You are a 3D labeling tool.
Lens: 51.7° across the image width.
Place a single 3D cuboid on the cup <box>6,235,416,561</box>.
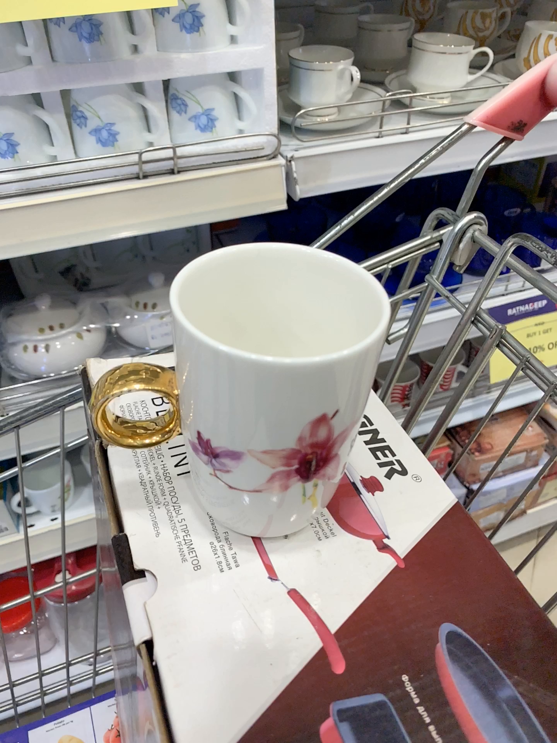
[{"bbox_3d":[-0.022,0.009,0.211,0.110,0.090,0.070,-3,41,-6],"label":"cup"}]
